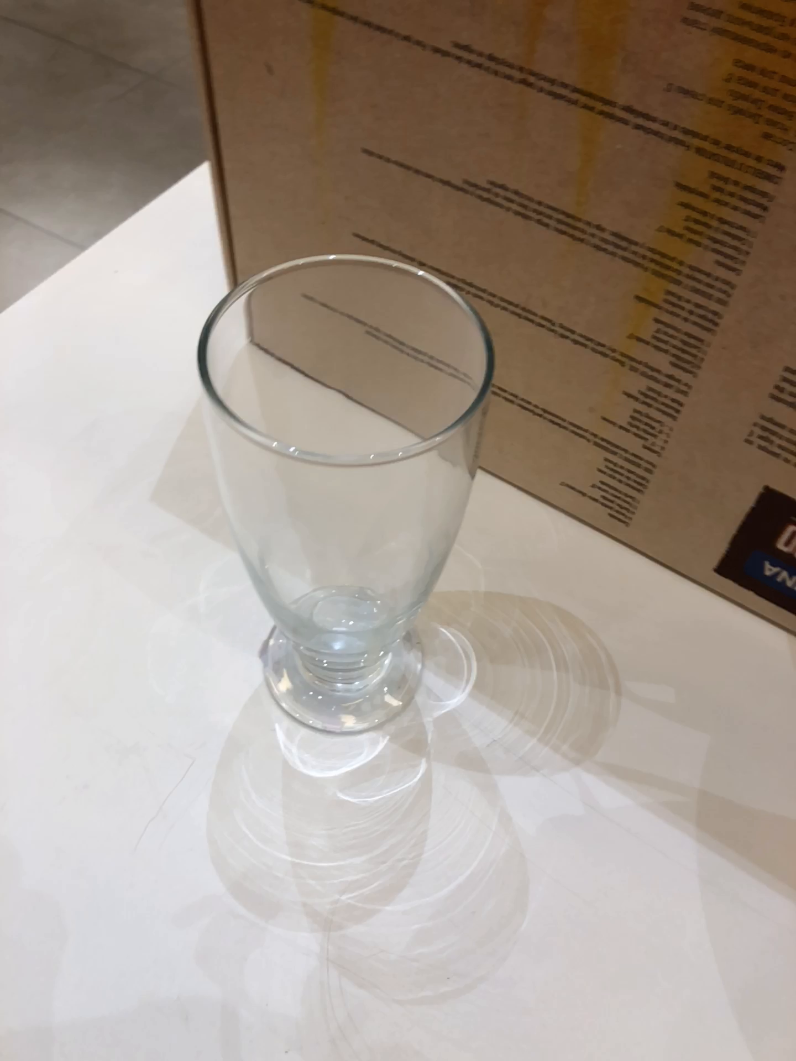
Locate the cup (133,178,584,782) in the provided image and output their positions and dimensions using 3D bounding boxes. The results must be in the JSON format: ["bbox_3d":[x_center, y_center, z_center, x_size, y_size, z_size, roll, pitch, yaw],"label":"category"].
[{"bbox_3d":[-0.014,-0.004,0.310,0.090,0.189,0.080,28,56,16],"label":"cup"}]
